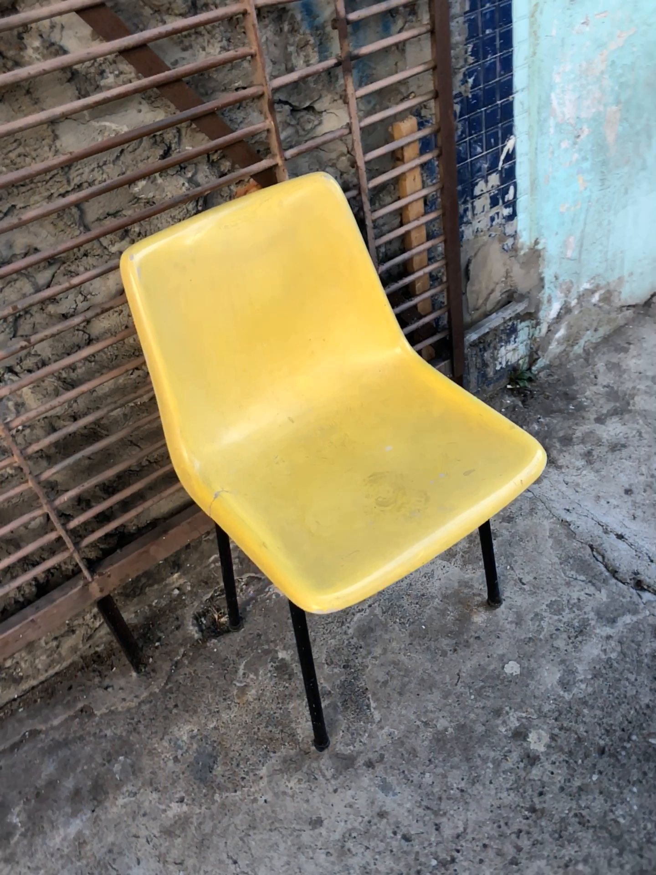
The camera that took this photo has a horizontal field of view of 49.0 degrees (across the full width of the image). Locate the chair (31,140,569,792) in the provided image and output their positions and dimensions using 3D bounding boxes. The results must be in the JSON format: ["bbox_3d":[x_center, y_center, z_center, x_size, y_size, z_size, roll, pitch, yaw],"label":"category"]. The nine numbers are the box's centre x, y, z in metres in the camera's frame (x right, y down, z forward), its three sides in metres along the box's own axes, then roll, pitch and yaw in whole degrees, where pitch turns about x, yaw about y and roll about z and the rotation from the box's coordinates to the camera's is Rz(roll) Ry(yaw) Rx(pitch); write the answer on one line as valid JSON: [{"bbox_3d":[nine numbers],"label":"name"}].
[{"bbox_3d":[-0.002,0.032,1.089,0.481,0.715,0.473,-30,42,-21],"label":"chair"}]
